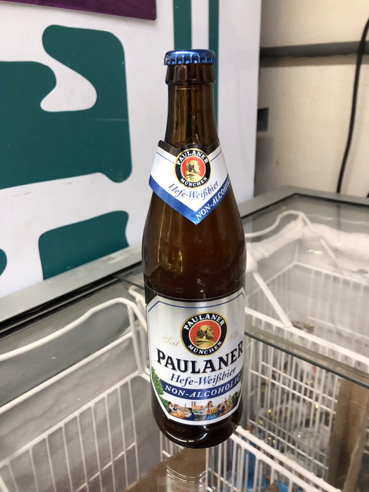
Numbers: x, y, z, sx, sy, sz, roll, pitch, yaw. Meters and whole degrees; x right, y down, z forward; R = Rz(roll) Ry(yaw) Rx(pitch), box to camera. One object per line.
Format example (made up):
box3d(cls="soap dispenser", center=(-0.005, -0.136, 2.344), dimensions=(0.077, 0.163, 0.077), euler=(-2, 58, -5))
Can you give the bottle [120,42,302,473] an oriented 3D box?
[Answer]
box3d(cls="bottle", center=(0.012, 0.015, 0.256), dimensions=(0.080, 0.248, 0.070), euler=(-3, 21, -4))
